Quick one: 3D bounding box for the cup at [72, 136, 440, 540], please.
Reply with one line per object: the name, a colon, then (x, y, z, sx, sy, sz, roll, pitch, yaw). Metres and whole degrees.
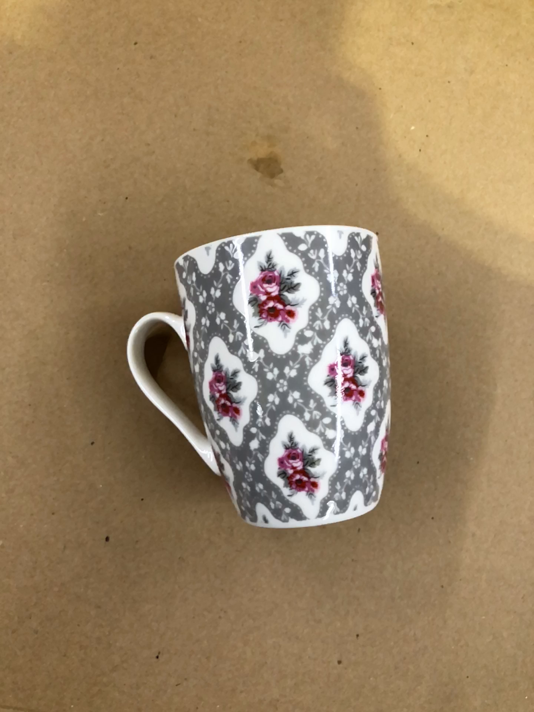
cup: (0.001, 0.000, 0.220, 0.100, 0.080, 0.110, -9, 85, 21)
